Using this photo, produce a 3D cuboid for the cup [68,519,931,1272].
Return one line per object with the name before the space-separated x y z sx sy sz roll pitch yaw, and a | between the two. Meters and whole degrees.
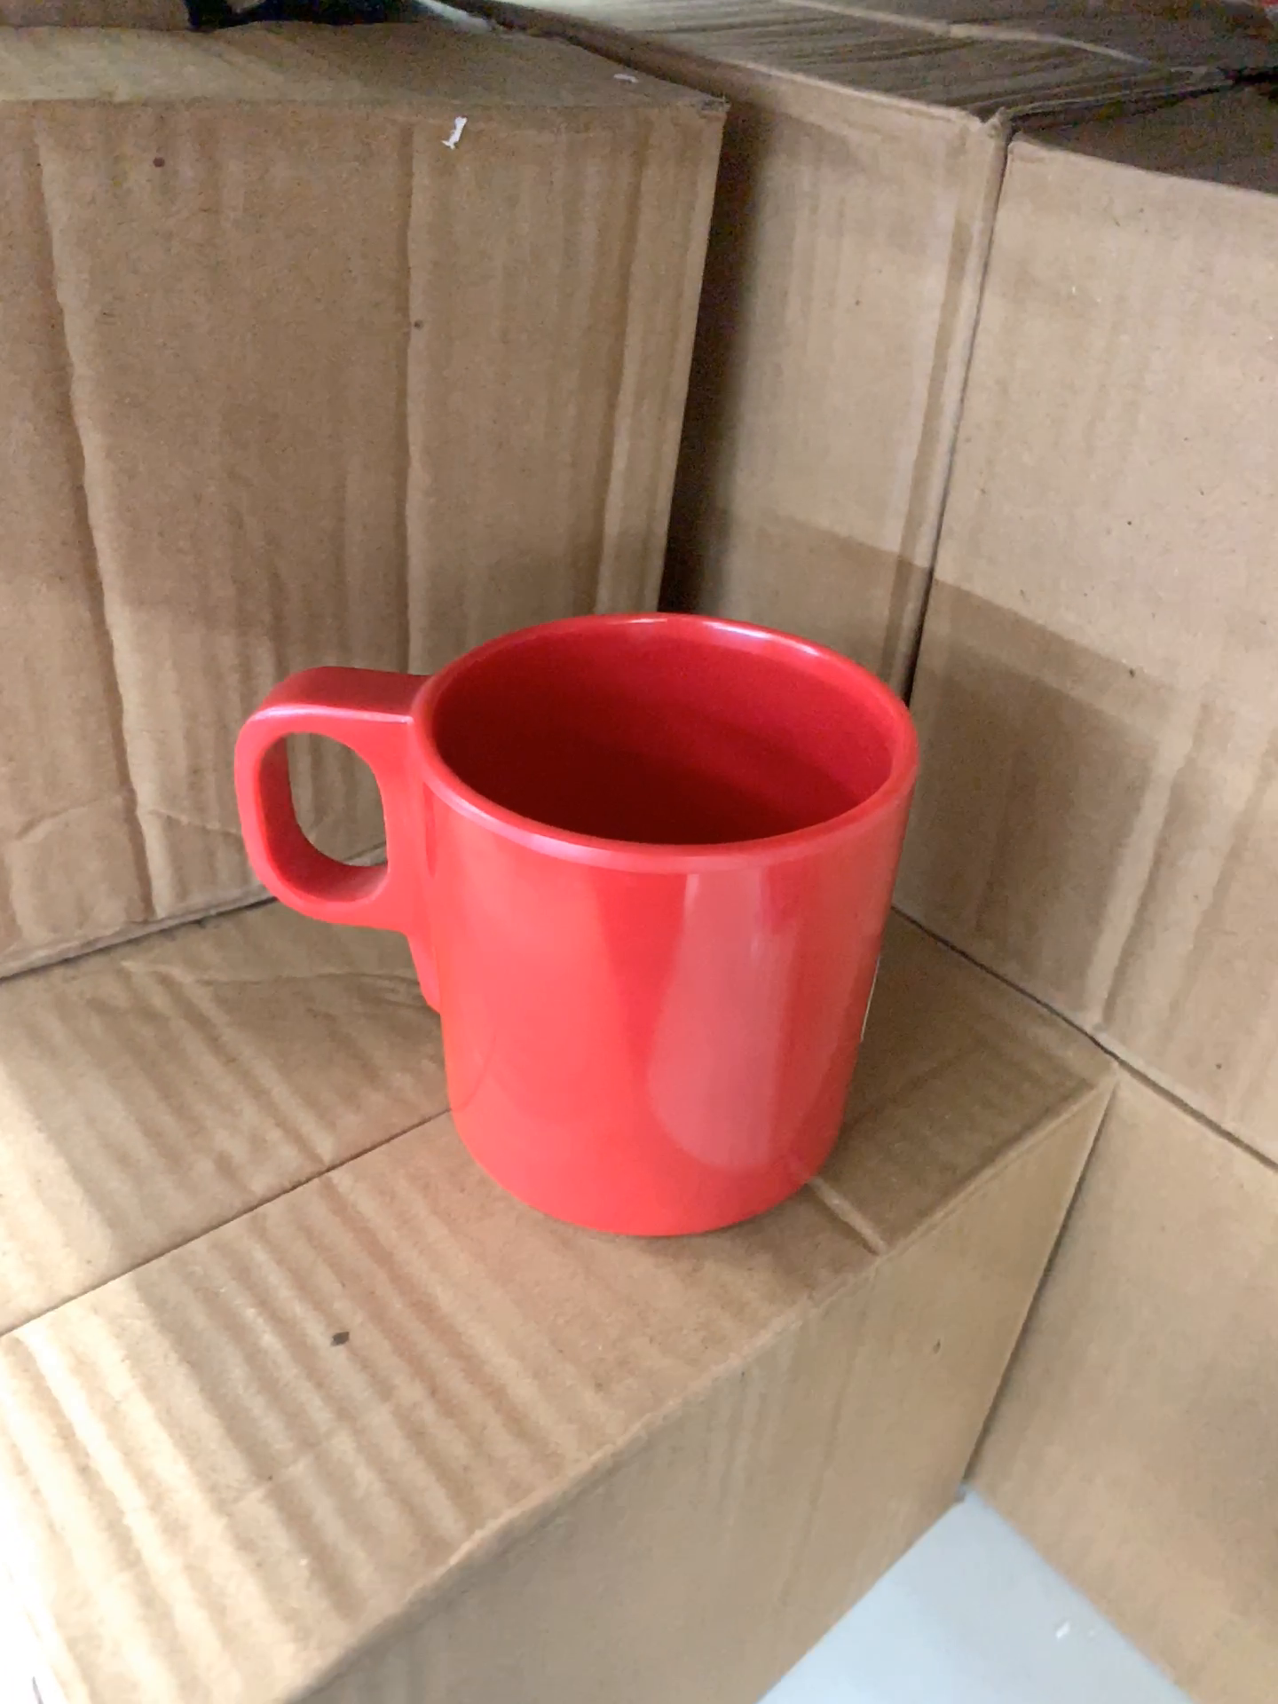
cup | -0.016 0.003 0.221 0.110 0.079 0.071 10 36 10
